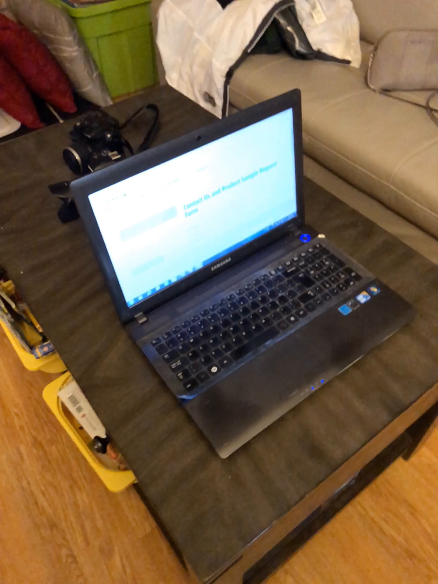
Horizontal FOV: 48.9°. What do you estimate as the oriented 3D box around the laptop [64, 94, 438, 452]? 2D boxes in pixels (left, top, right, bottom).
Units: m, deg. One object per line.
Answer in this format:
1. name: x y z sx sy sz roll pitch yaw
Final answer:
1. laptop: 0.056 -0.051 0.663 0.367 0.231 0.309 -30 54 -23
